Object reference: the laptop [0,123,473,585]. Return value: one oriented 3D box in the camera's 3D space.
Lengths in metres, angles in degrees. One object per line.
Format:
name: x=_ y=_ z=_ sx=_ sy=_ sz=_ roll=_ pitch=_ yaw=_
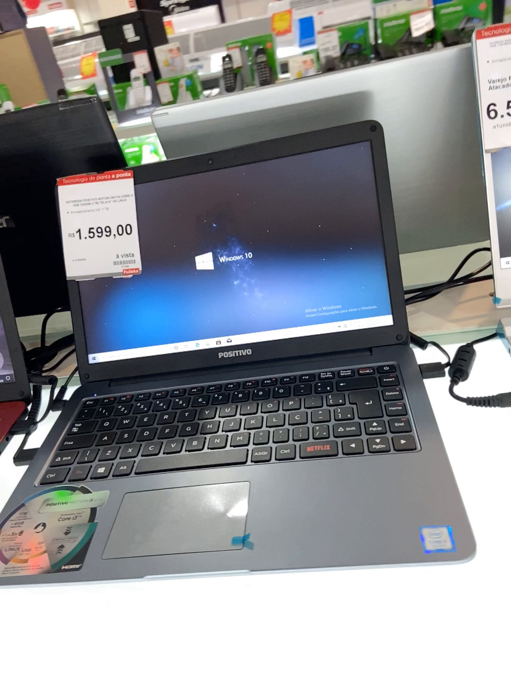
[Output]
laptop: x=-0.041 y=-0.020 z=0.410 sx=0.319 sy=0.171 sz=0.325 roll=-8 pitch=31 yaw=10
